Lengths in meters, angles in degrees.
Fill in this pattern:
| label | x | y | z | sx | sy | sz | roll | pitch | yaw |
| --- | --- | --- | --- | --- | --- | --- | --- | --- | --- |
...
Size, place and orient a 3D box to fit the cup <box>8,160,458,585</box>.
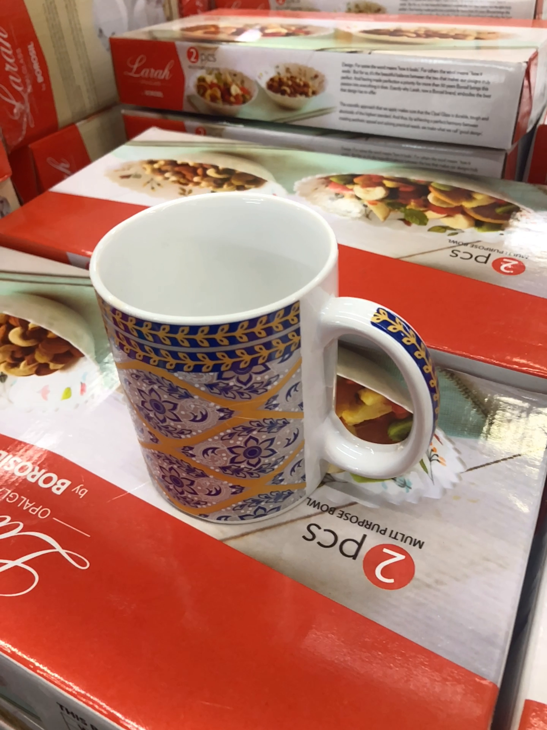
| label | x | y | z | sx | sy | sz | roll | pitch | yaw |
| --- | --- | --- | --- | --- | --- | --- | --- | --- | --- |
| cup | -0.005 | -0.002 | 0.210 | 0.110 | 0.099 | 0.080 | 11 | 41 | 17 |
